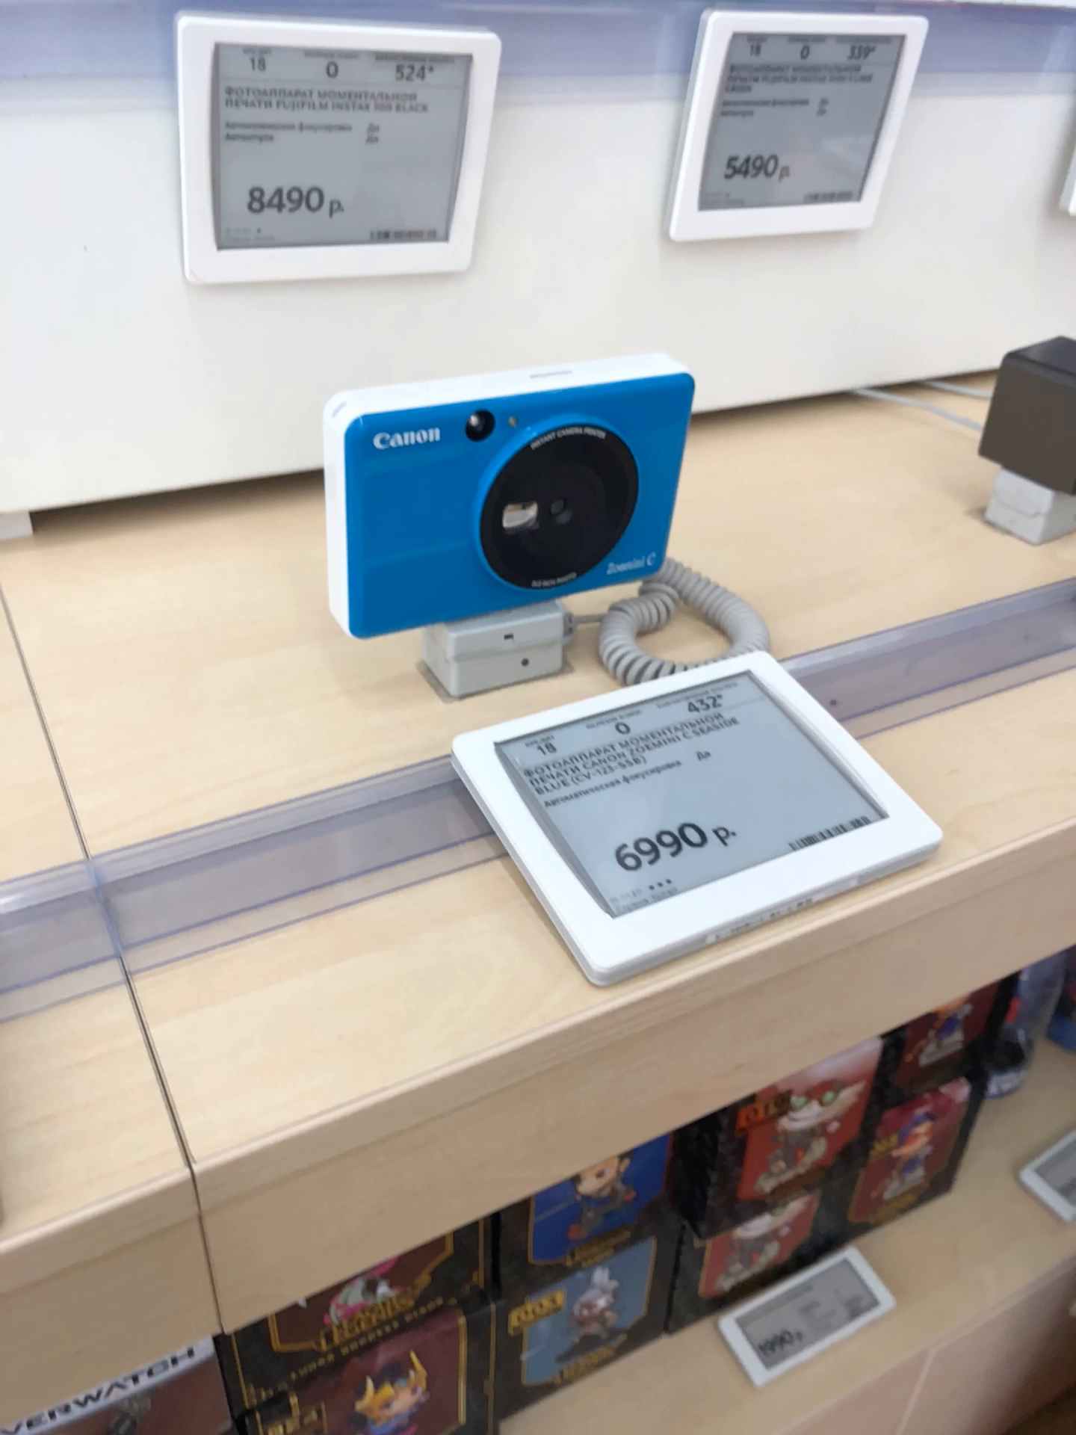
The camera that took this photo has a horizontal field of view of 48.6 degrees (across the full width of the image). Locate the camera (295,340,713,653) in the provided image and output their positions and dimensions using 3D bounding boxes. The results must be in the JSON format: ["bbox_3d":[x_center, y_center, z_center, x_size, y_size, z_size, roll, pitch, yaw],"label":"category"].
[{"bbox_3d":[-0.010,-0.069,0.366,0.120,0.070,0.030,-15,43,-24],"label":"camera"}]
